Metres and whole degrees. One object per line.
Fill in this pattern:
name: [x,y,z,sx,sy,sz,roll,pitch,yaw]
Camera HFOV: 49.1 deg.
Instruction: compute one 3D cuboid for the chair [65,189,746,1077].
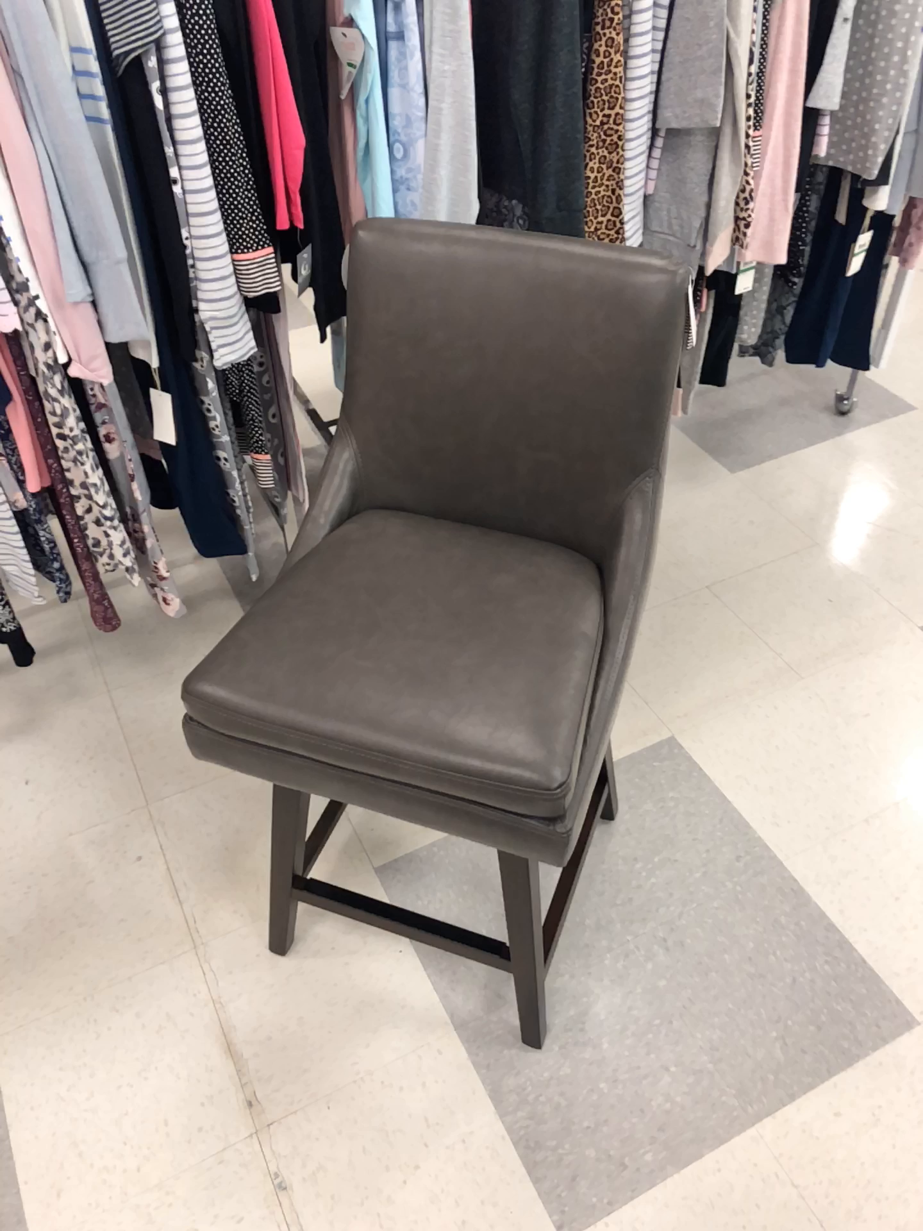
chair: [-0.003,0.046,1.314,0.491,0.918,0.582,13,45,15]
